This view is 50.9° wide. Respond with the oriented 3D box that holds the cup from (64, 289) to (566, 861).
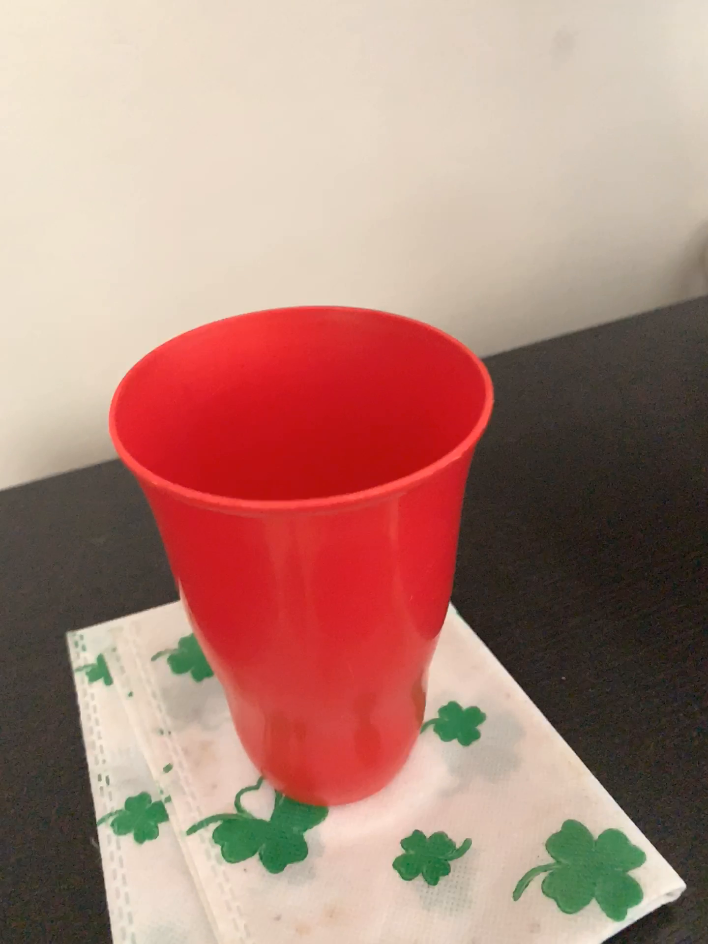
[{"bbox_3d":[-0.010,0.019,0.175,0.079,0.091,0.082,-2,35,1],"label":"cup"}]
